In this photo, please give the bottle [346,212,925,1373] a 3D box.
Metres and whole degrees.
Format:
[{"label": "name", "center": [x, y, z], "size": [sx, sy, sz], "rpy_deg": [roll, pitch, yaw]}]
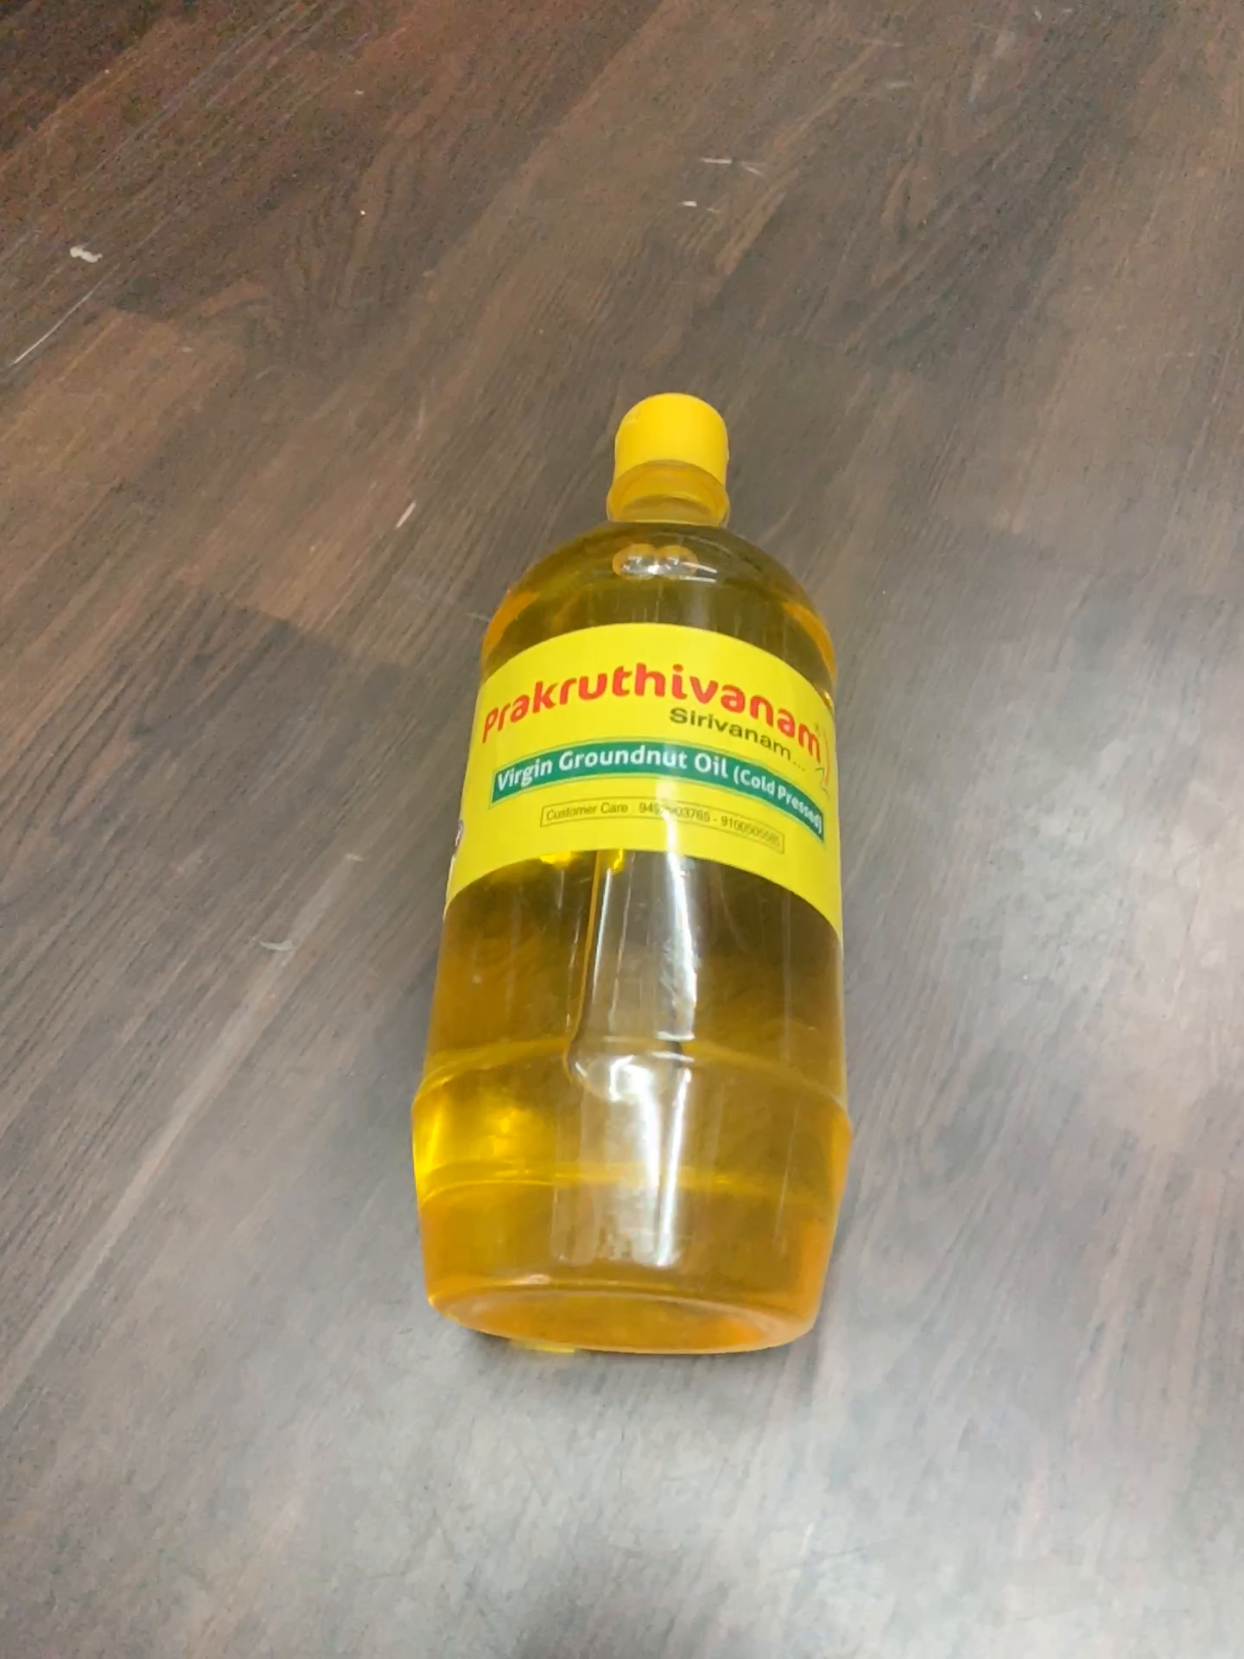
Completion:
[{"label": "bottle", "center": [0.009, -0.022, 0.299], "size": [0.090, 0.080, 0.261], "rpy_deg": [5, 60, -1]}]
